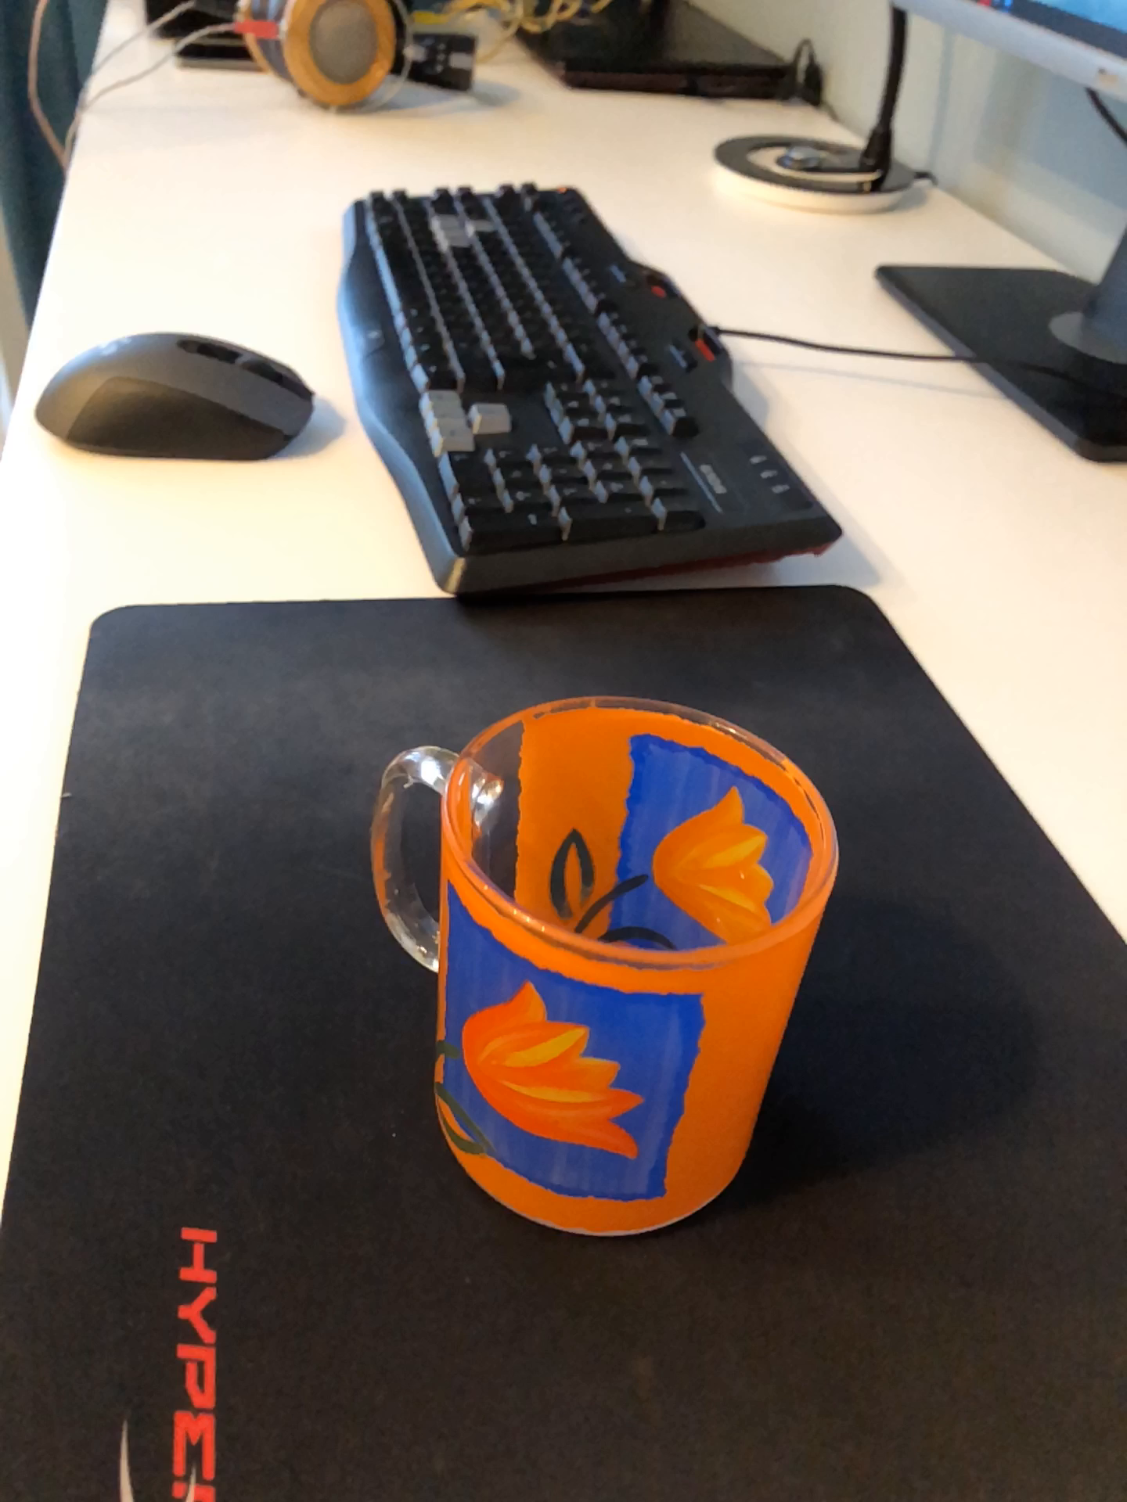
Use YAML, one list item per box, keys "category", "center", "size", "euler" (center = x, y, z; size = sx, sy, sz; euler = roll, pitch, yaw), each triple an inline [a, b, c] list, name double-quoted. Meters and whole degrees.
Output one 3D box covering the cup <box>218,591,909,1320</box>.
- category: "cup"
  center: [-0.003, 0.038, 0.272]
  size: [0.114, 0.089, 0.076]
  euler: [27, 42, 25]
